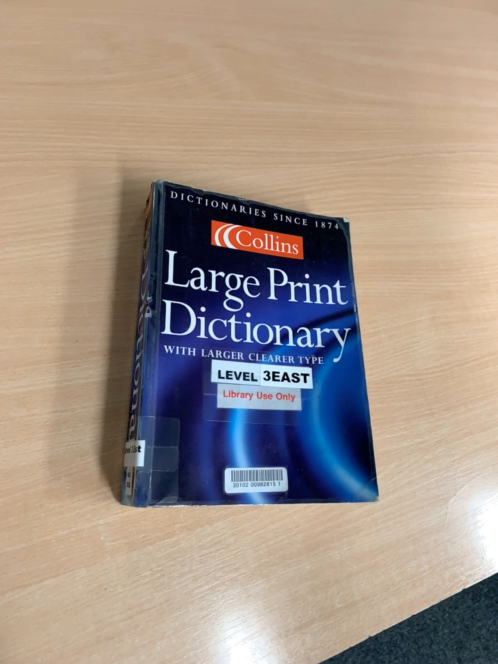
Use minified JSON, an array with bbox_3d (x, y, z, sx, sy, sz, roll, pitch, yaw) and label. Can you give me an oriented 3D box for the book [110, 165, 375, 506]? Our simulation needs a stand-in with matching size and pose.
[{"bbox_3d":[-0.002,0.007,0.406,0.188,0.050,0.243,6,73,-21],"label":"book"}]
